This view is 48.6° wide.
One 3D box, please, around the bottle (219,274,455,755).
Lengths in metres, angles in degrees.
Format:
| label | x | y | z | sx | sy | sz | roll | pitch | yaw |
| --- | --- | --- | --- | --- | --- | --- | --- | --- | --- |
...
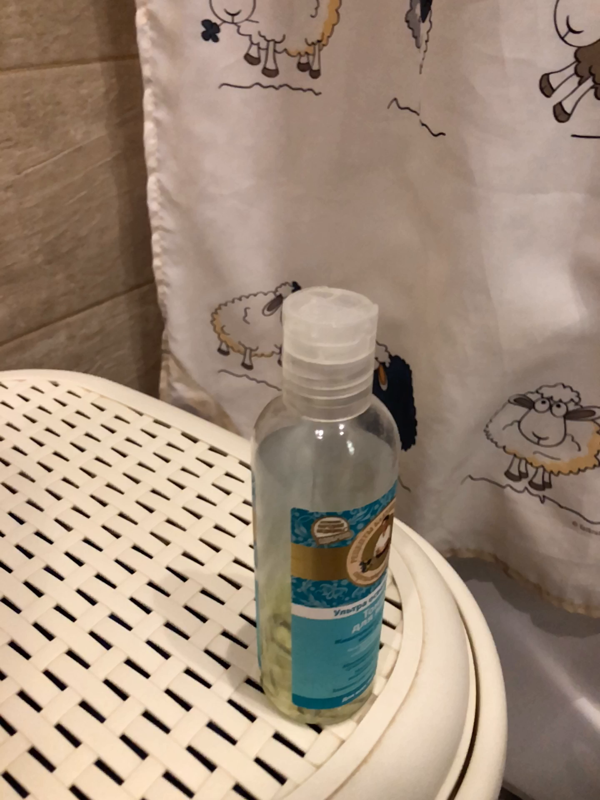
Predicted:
| label | x | y | z | sx | sy | sz | roll | pitch | yaw |
| --- | --- | --- | --- | --- | --- | --- | --- | --- | --- |
| bottle | 0.008 | 0.043 | 0.218 | 0.045 | 0.153 | 0.046 | 1 | 33 | -1 |
